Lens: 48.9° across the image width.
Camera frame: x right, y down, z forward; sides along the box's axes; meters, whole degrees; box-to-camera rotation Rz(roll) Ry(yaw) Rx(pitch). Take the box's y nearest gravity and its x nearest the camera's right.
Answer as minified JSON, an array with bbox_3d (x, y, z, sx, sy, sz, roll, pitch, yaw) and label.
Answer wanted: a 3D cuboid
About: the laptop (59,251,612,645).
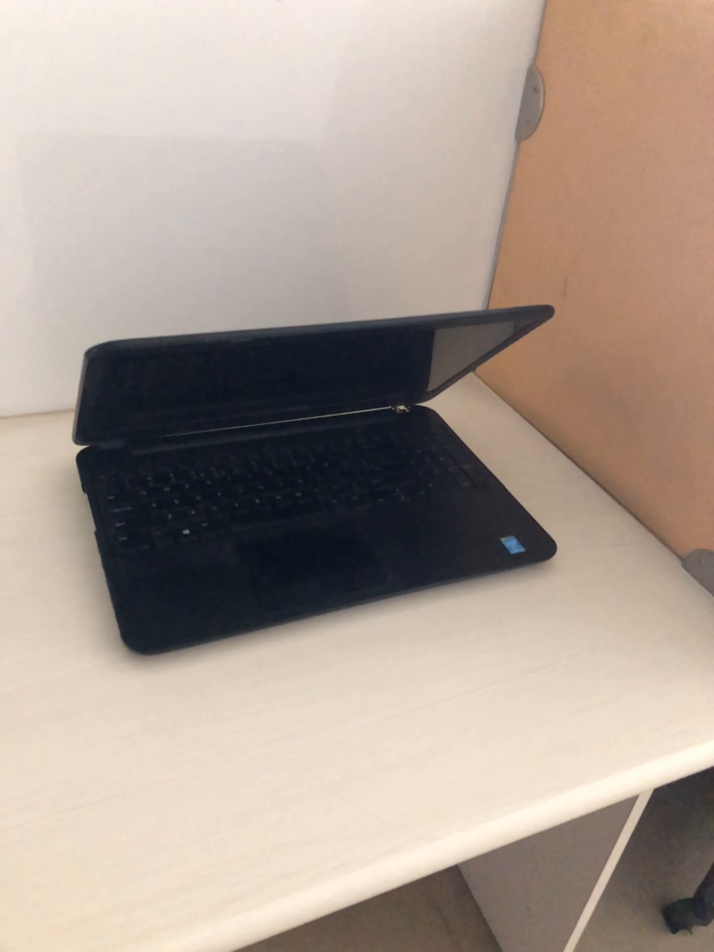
[{"bbox_3d":[-0.031,-0.053,0.657,0.365,0.177,0.249,-9,38,-25],"label":"laptop"}]
